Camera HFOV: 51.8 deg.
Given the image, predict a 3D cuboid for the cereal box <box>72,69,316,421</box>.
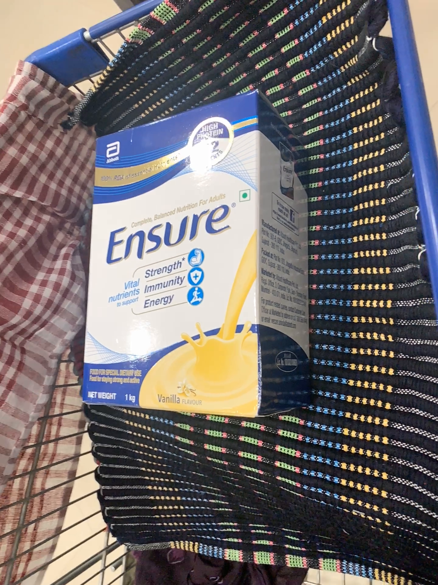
[{"bbox_3d":[-0.014,-0.024,0.346,0.151,0.090,0.220,-4,77,30],"label":"cereal box"}]
